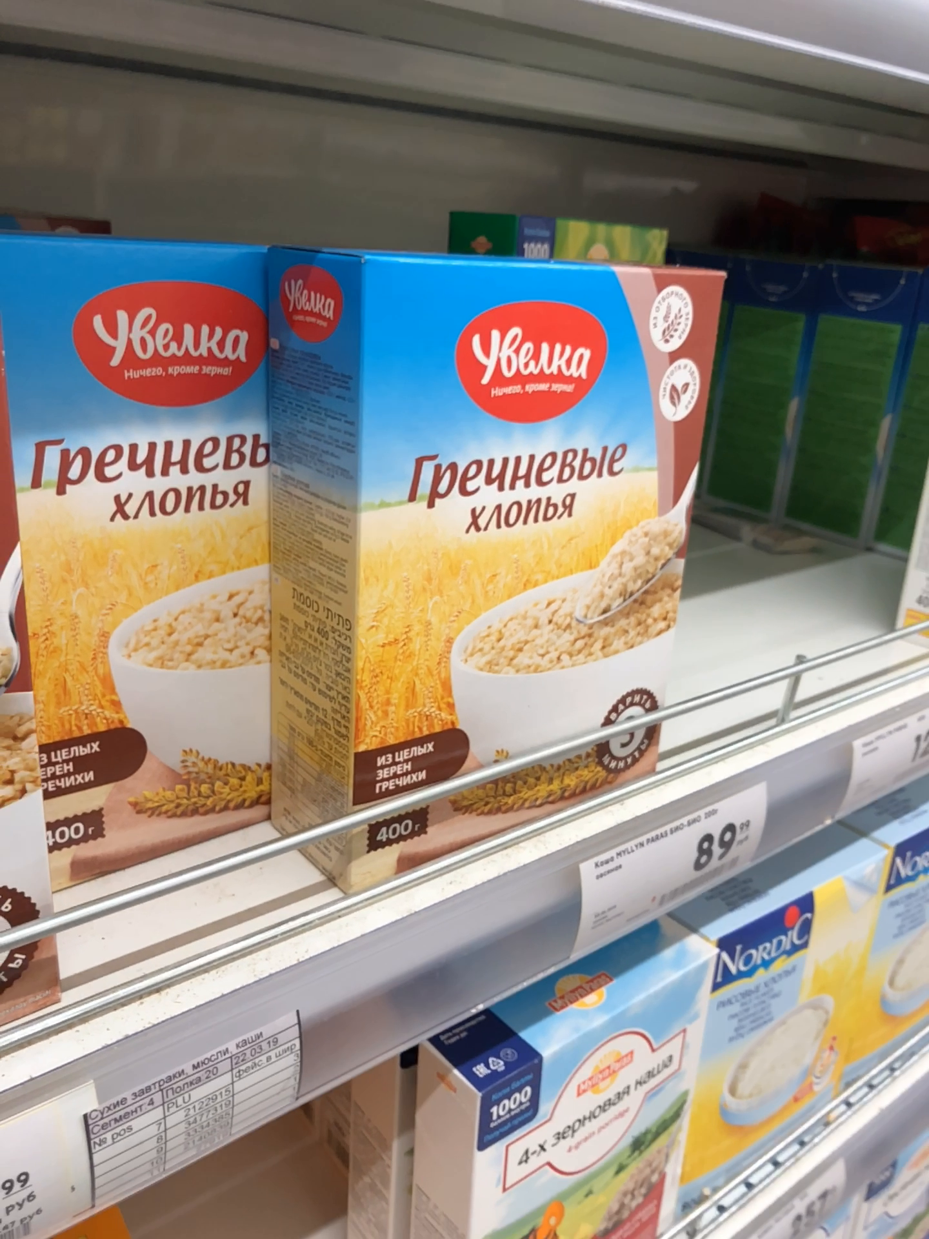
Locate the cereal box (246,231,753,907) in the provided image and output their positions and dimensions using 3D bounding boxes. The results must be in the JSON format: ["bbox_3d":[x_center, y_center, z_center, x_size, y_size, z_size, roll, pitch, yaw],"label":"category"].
[{"bbox_3d":[0.011,-0.025,0.347,0.150,0.189,0.060,-12,25,-36],"label":"cereal box"}]
